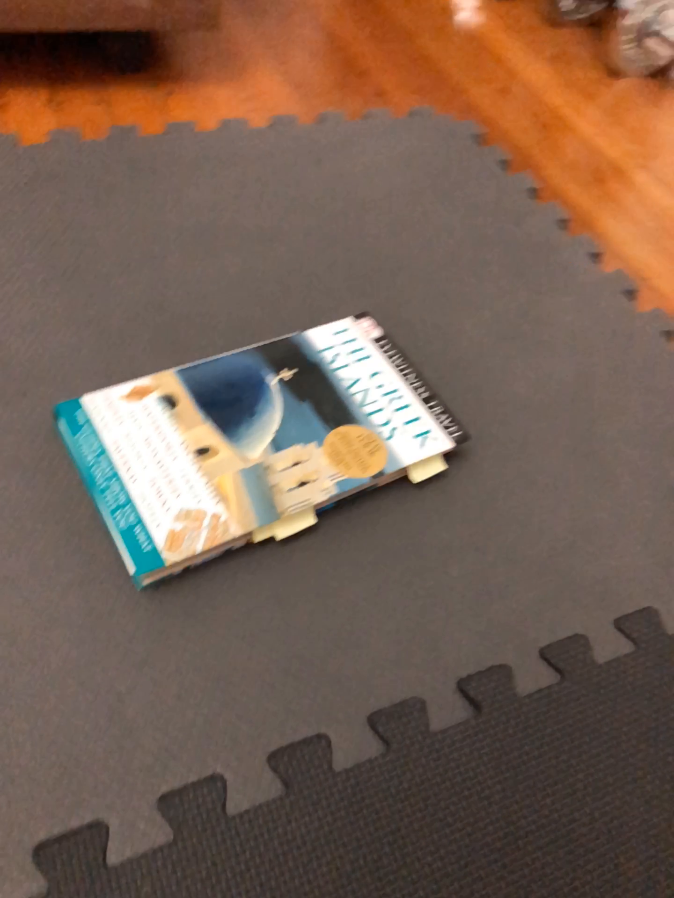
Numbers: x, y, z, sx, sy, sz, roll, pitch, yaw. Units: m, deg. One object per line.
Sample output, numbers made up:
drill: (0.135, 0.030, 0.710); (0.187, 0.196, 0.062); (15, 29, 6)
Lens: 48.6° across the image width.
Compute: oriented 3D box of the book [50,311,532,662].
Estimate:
book: (-0.026, 0.004, 0.454); (0.241, 0.030, 0.160); (-19, 56, -25)
